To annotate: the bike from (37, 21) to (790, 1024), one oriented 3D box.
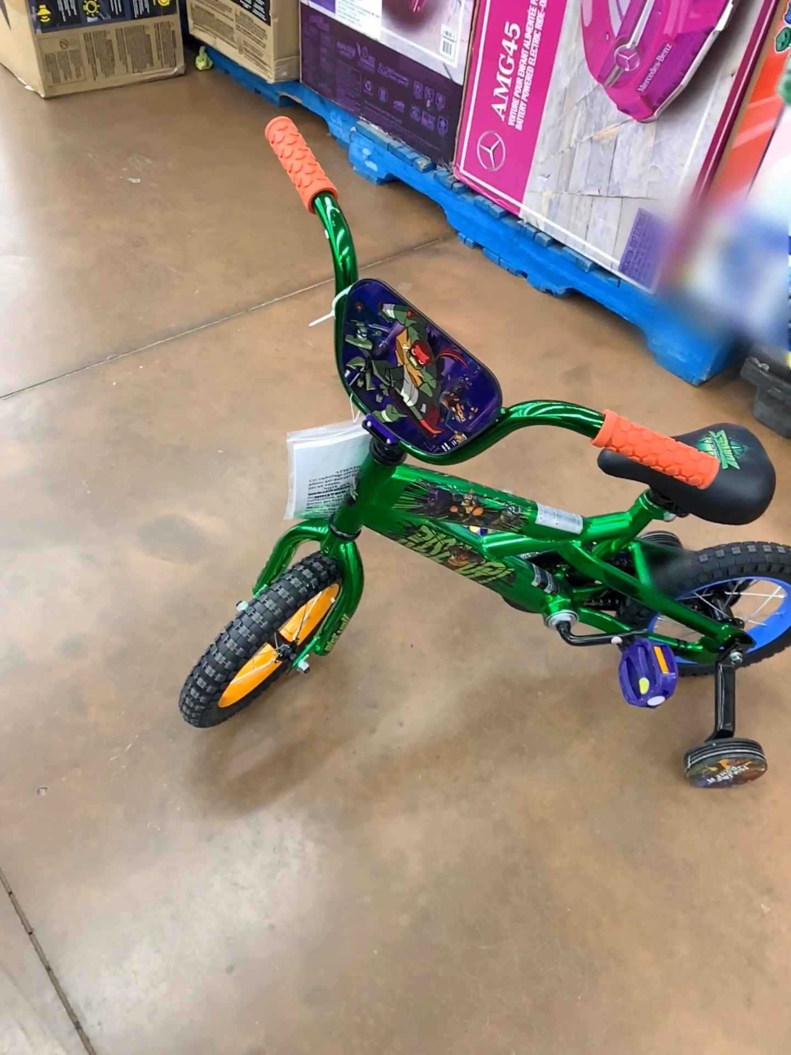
[{"bbox_3d":[0.215,0.028,0.833,0.851,0.732,0.491,-5,49,-16],"label":"bike"}]
